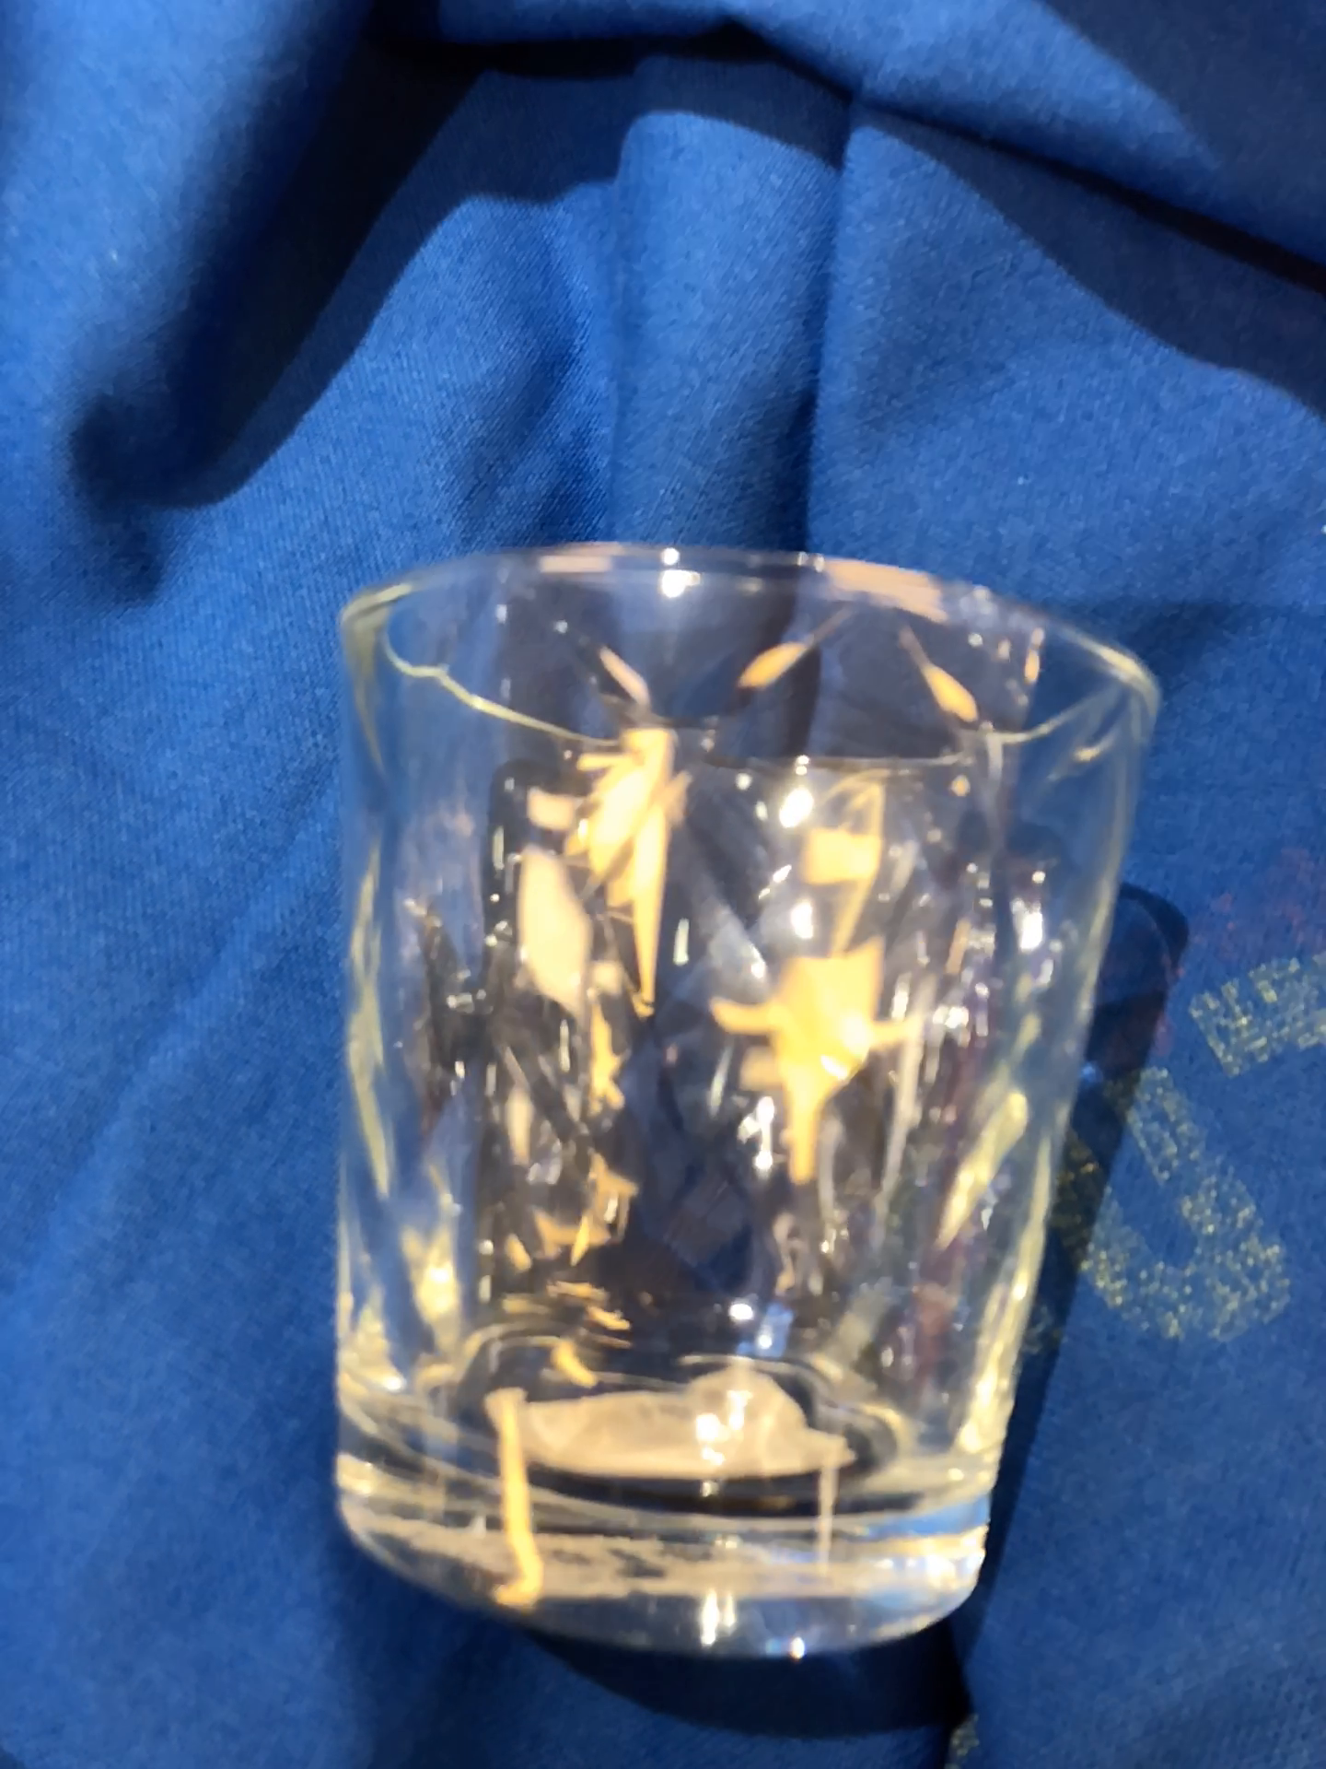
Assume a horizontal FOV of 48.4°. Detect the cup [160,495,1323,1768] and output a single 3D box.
[{"bbox_3d":[0.007,0.019,0.147,0.080,0.070,0.090,6,88,2],"label":"cup"}]
